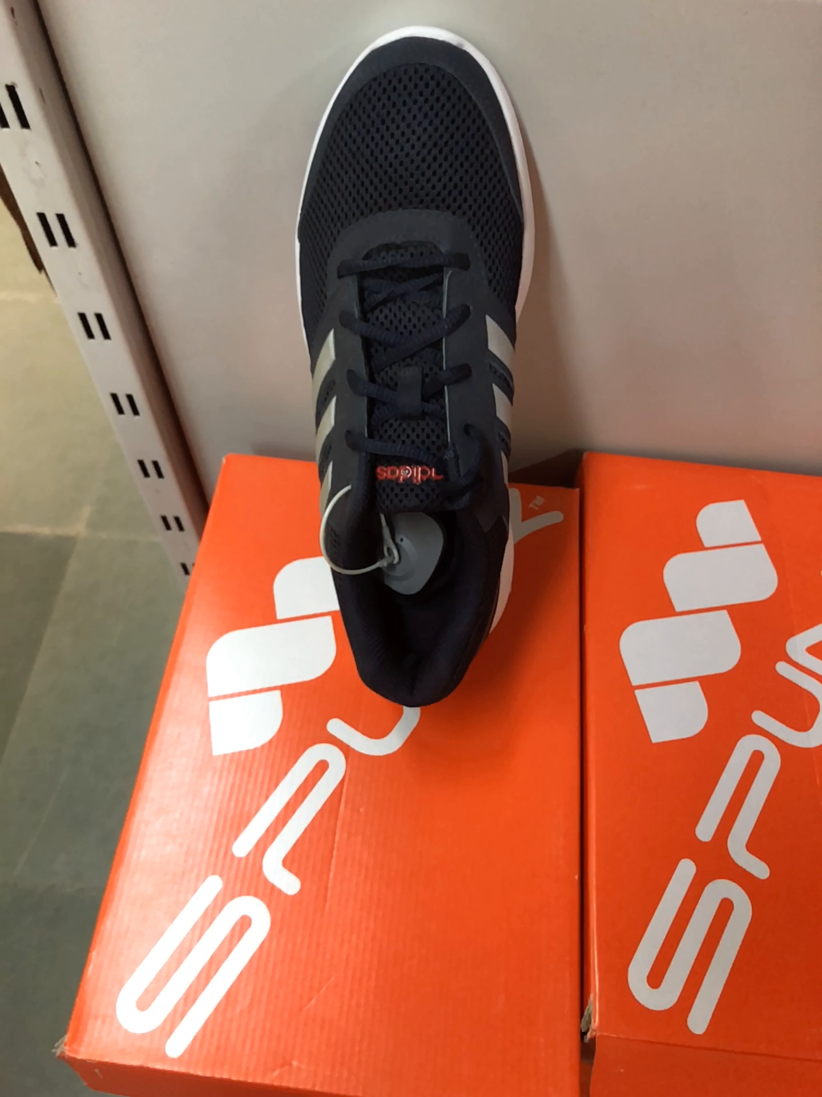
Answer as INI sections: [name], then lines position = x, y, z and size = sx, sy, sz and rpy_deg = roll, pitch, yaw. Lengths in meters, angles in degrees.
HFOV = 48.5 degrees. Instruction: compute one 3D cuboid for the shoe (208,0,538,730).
[shoe]
position = -0.004, -0.069, 0.386
size = 0.110, 0.271, 0.089
rpy_deg = 1, 18, 9
